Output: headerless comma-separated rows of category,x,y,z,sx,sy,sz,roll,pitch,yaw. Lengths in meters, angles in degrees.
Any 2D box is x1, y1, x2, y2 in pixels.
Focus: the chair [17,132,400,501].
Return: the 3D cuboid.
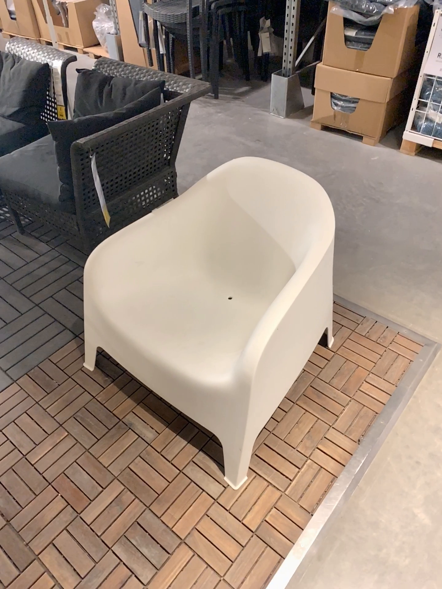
chair,-0.020,-0.001,1.485,0.772,0.637,0.761,30,52,30
